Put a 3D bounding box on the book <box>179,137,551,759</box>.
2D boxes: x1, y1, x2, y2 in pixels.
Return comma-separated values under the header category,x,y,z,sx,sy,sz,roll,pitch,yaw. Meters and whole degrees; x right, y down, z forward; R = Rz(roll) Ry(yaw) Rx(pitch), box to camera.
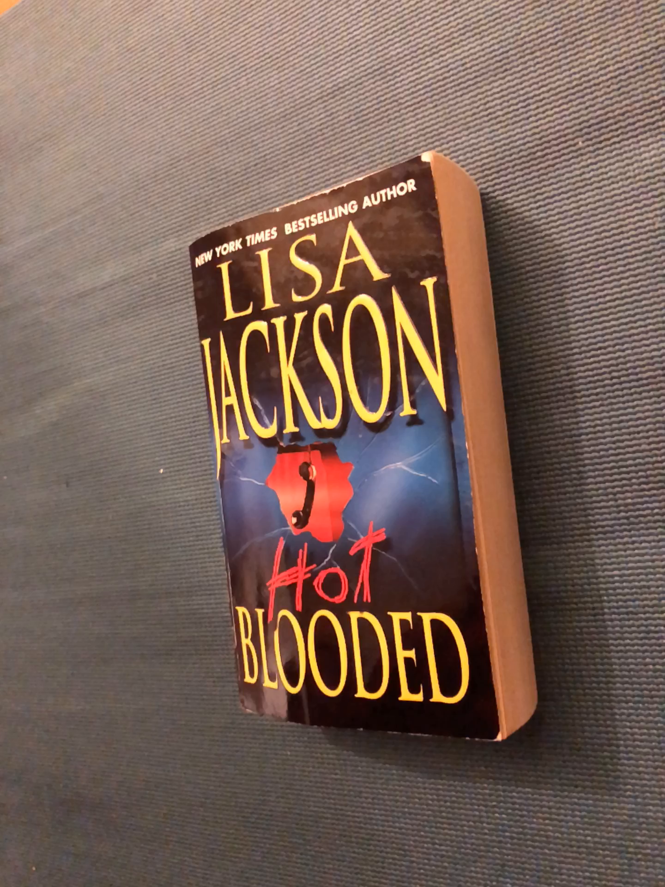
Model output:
category,x,y,z,sx,sy,sz,roll,pitch,yaw
book,0.007,0.004,0.249,0.104,0.040,0.171,-7,89,37
